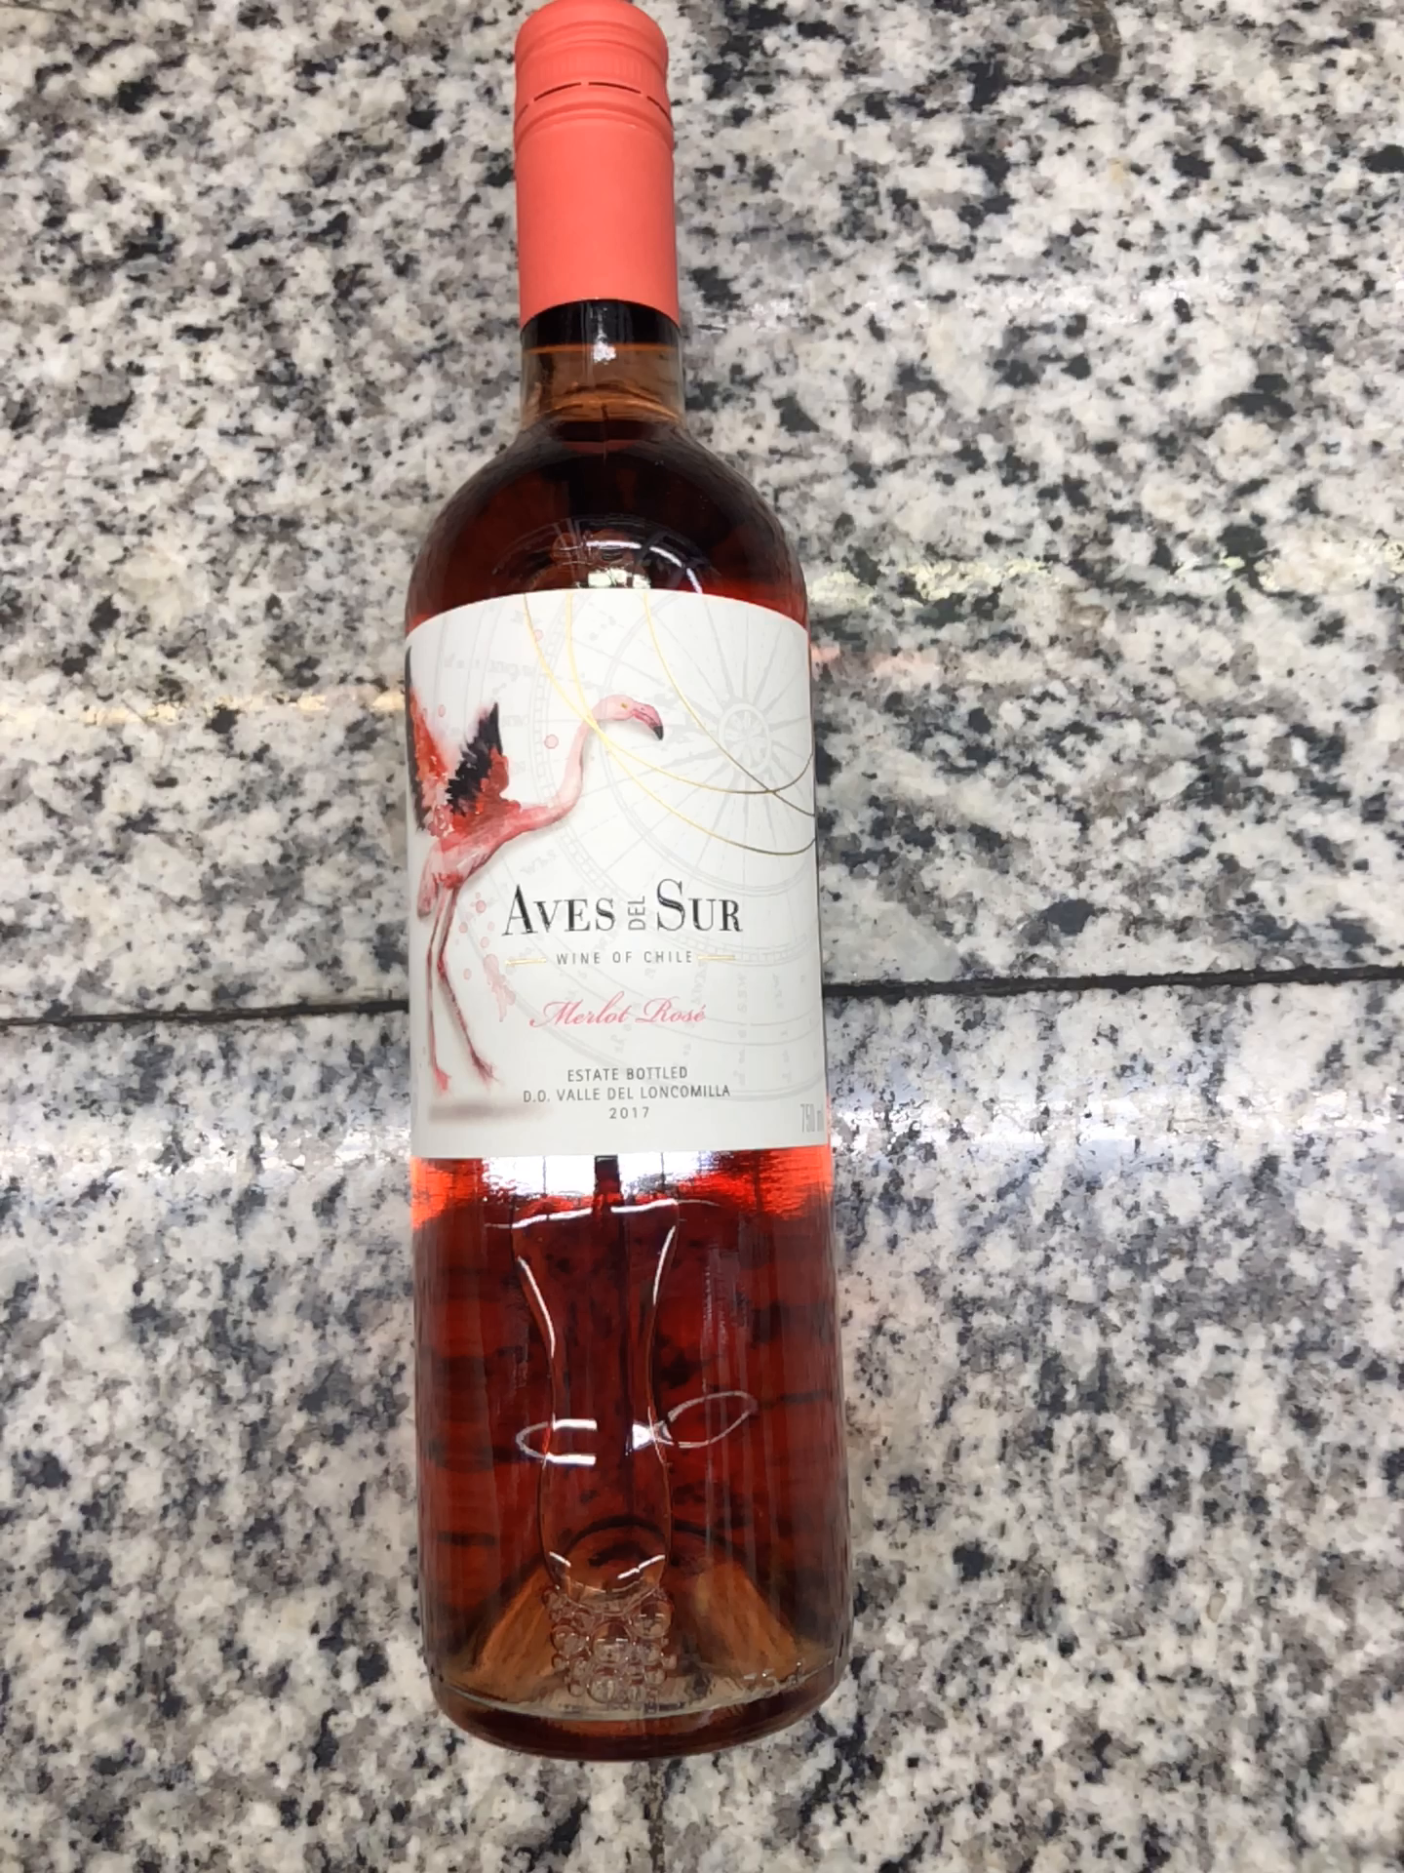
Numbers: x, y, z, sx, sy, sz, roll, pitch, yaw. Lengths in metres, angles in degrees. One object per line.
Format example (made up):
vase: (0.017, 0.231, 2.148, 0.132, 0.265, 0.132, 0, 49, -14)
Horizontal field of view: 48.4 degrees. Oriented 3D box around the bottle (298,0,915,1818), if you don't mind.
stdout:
bottle: (-0.019, -0.028, 0.300, 0.090, 0.070, 0.340, -3, 83, 3)
